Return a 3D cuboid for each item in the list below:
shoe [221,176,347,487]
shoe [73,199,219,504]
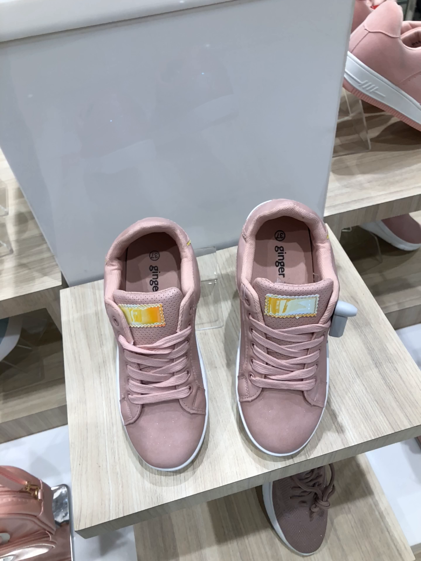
[{"bbox_3d":[0.068,0.042,0.446,0.099,0.094,0.261,2,87,5],"label":"shoe"},{"bbox_3d":[-0.055,0.061,0.444,0.103,0.094,0.252,-5,89,2],"label":"shoe"}]
